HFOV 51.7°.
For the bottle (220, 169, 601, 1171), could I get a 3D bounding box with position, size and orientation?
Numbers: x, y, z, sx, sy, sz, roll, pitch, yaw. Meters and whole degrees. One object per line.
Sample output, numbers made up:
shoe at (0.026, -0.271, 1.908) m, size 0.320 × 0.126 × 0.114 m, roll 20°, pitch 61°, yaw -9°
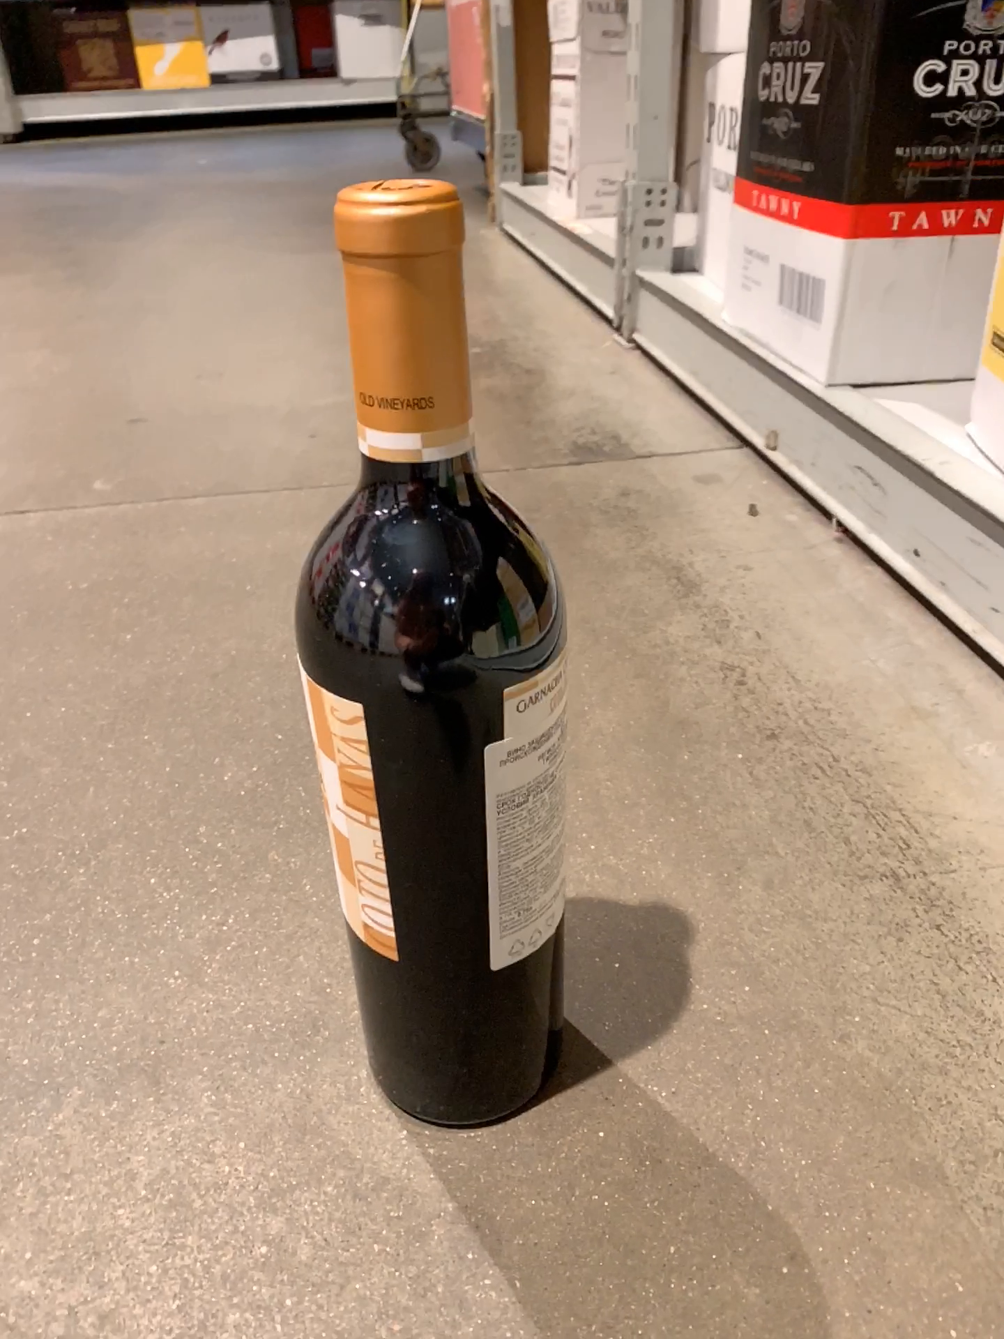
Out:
bottle at (-0.020, 0.021, 0.332) m, size 0.080 × 0.317 × 0.080 m, roll -2°, pitch 31°, yaw 1°
